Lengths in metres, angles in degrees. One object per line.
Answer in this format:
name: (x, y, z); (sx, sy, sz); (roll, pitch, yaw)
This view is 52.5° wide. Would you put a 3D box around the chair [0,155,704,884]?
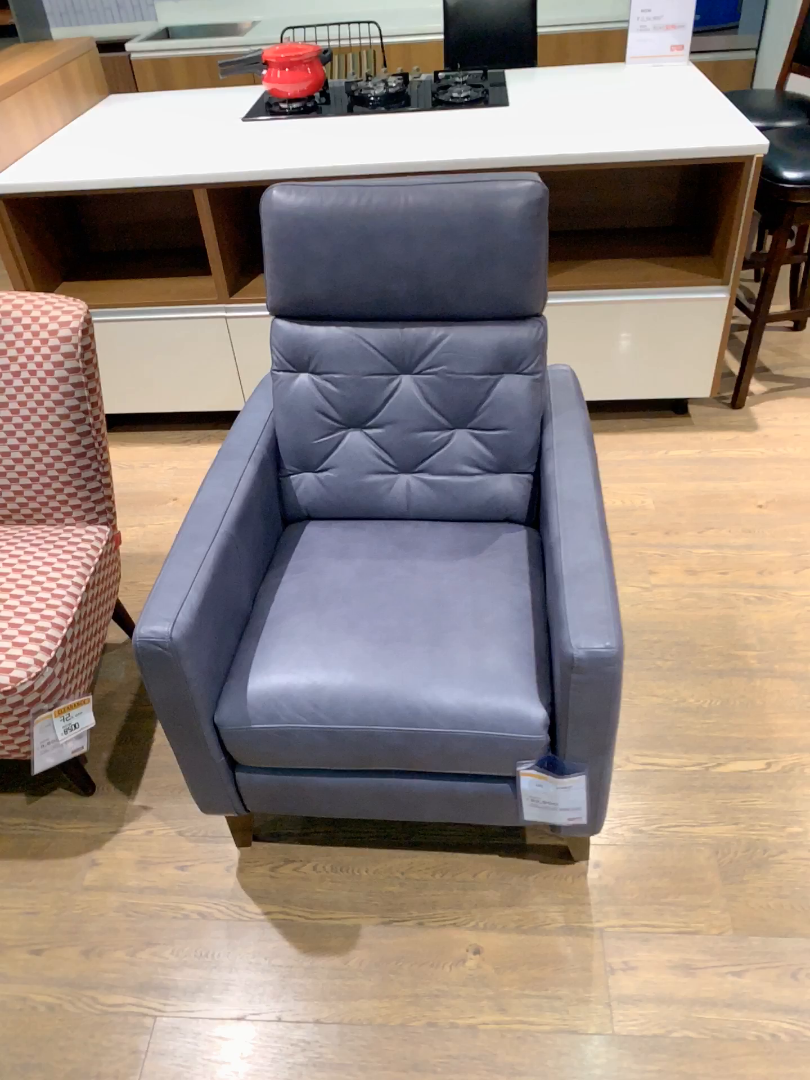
chair: (-0.006, -0.042, 1.521); (0.770, 0.996, 0.853); (0, 40, 7)
